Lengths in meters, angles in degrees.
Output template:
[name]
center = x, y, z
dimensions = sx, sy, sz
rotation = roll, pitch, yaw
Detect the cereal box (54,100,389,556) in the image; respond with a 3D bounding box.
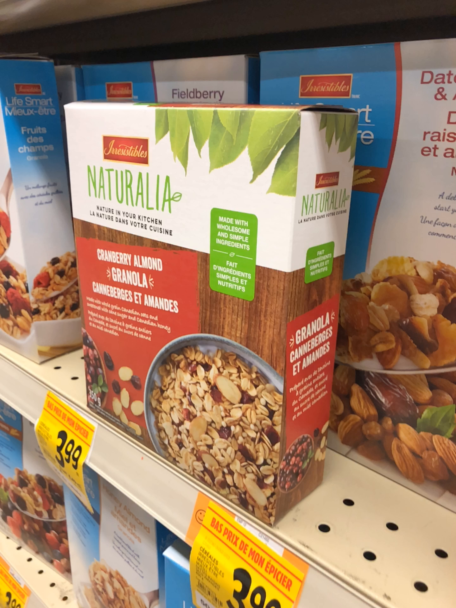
[cereal box]
center = -0.014, -0.003, 0.288
dimensions = 0.170, 0.209, 0.060
rotation = 18, 27, 39
